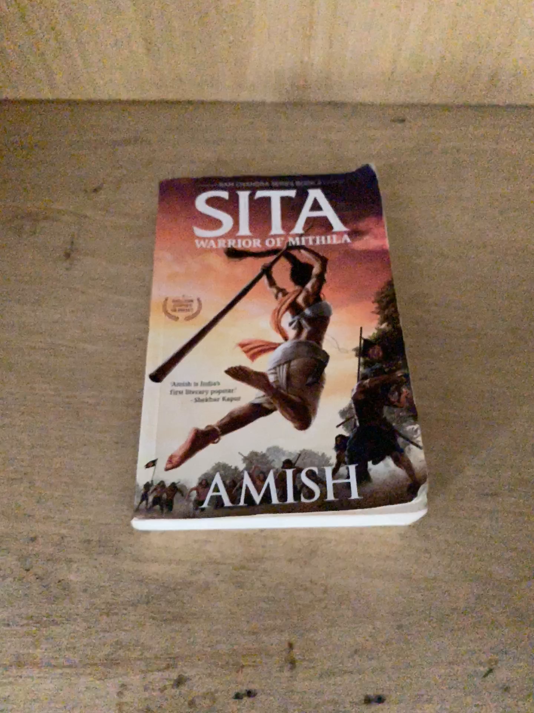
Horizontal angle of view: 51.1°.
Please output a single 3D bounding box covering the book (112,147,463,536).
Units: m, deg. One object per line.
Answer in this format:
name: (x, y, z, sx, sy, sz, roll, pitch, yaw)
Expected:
book: (0.006, -0.018, 0.282, 0.140, 0.030, 0.201, -2, 63, 2)
